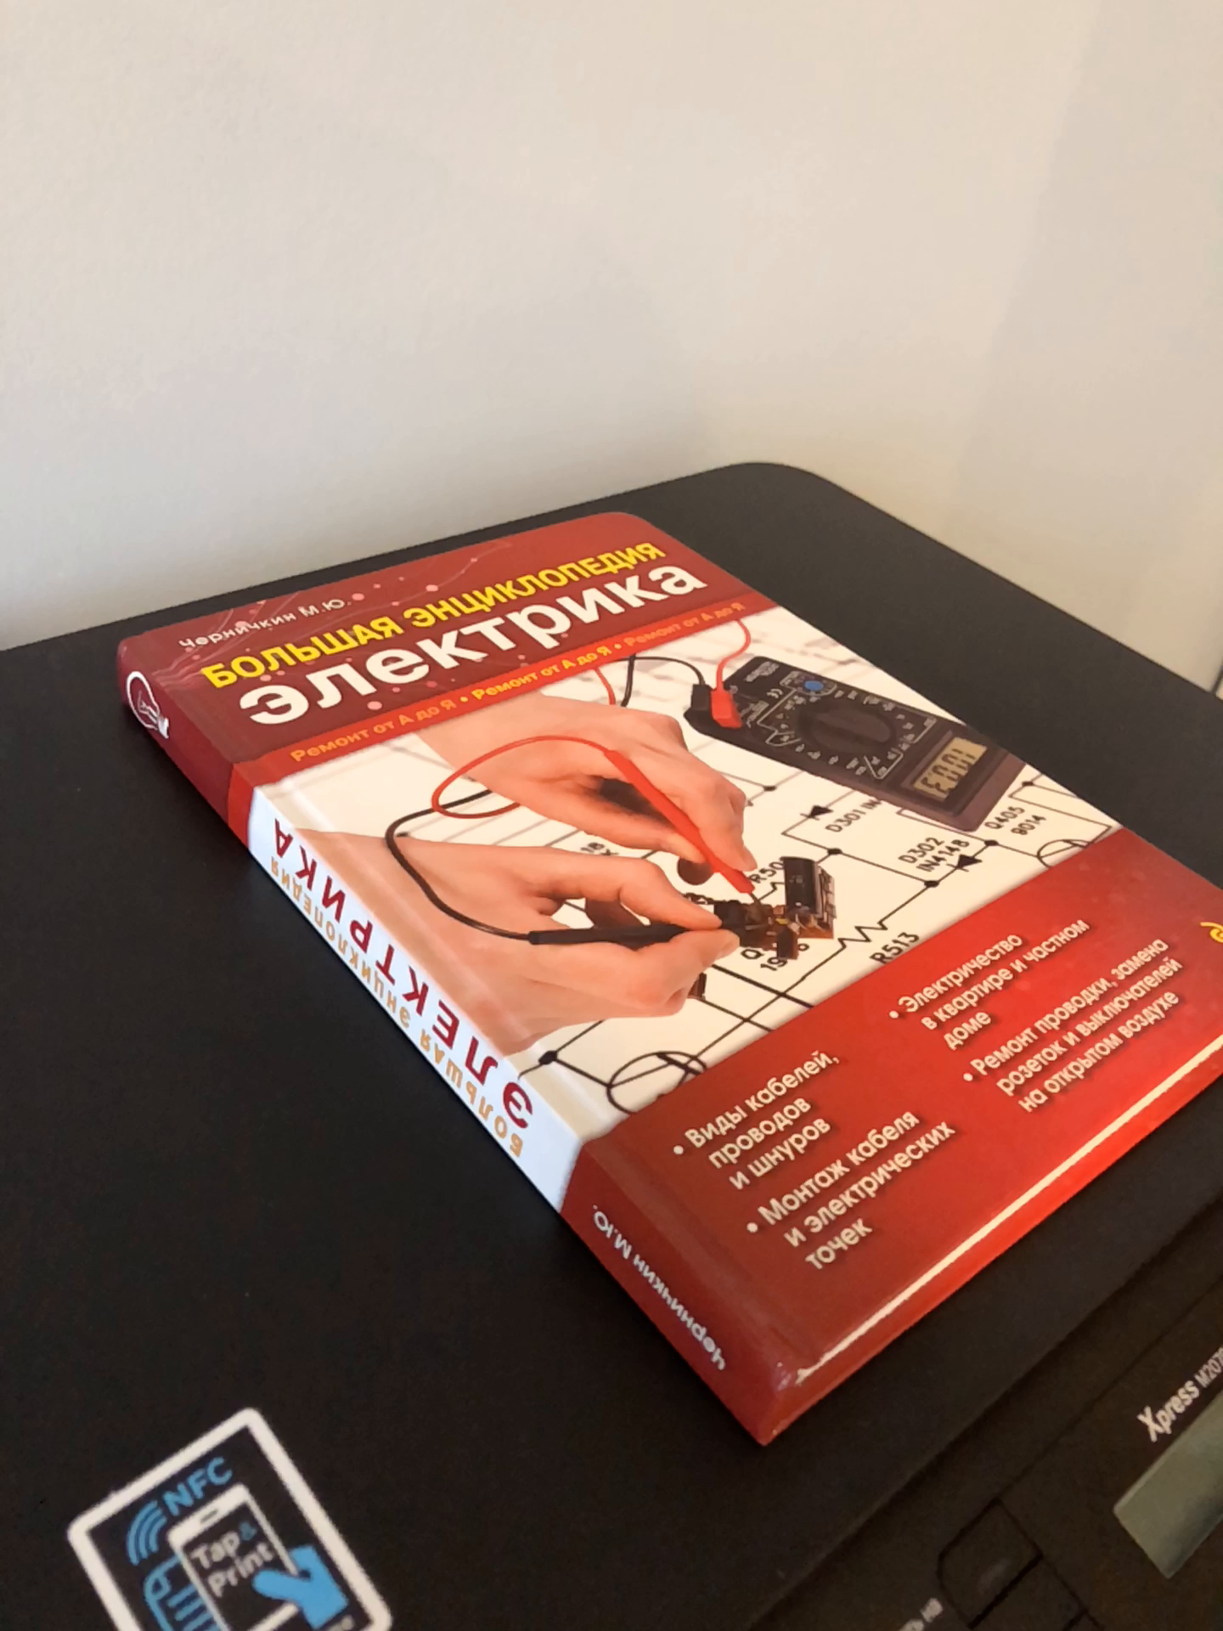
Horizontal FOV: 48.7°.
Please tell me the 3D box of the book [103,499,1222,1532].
[{"bbox_3d":[0.014,0.008,0.323,0.171,0.040,0.241,-23,48,-34],"label":"book"}]
